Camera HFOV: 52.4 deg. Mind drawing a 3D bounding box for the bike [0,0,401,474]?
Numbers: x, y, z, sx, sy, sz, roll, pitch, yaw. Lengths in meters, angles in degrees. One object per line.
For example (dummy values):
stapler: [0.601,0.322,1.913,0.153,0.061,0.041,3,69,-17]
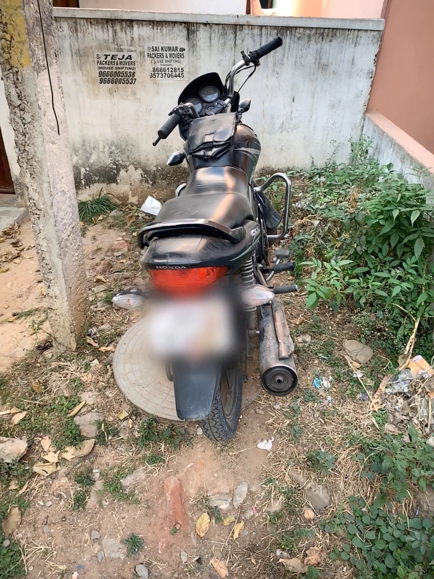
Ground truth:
bike: [-0.034,-0.367,1.508,0.734,1.101,1.246,3,43,0]
